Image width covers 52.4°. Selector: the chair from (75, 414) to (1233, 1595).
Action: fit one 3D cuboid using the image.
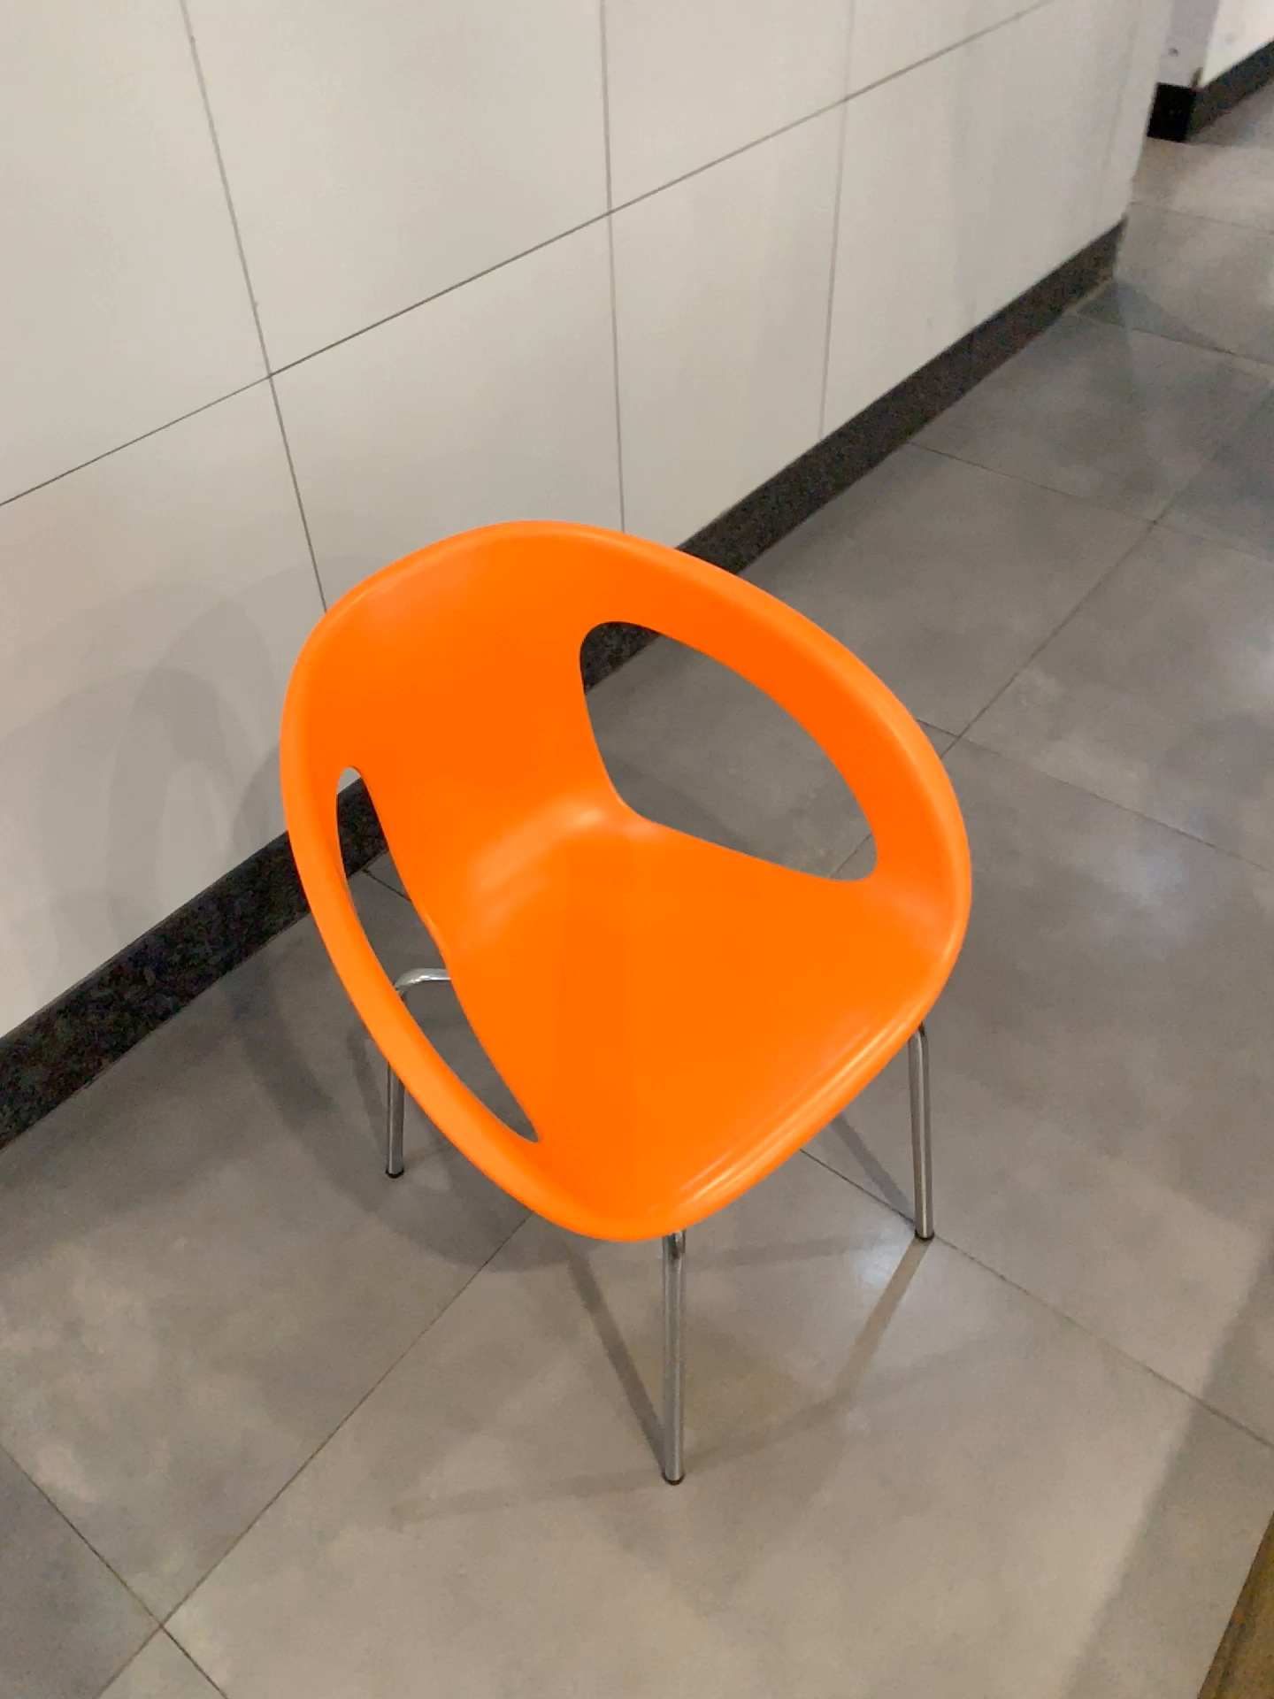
[{"bbox_3d":[0.012,0.102,1.256,0.662,0.665,0.643,-33,52,-29],"label":"chair"}]
